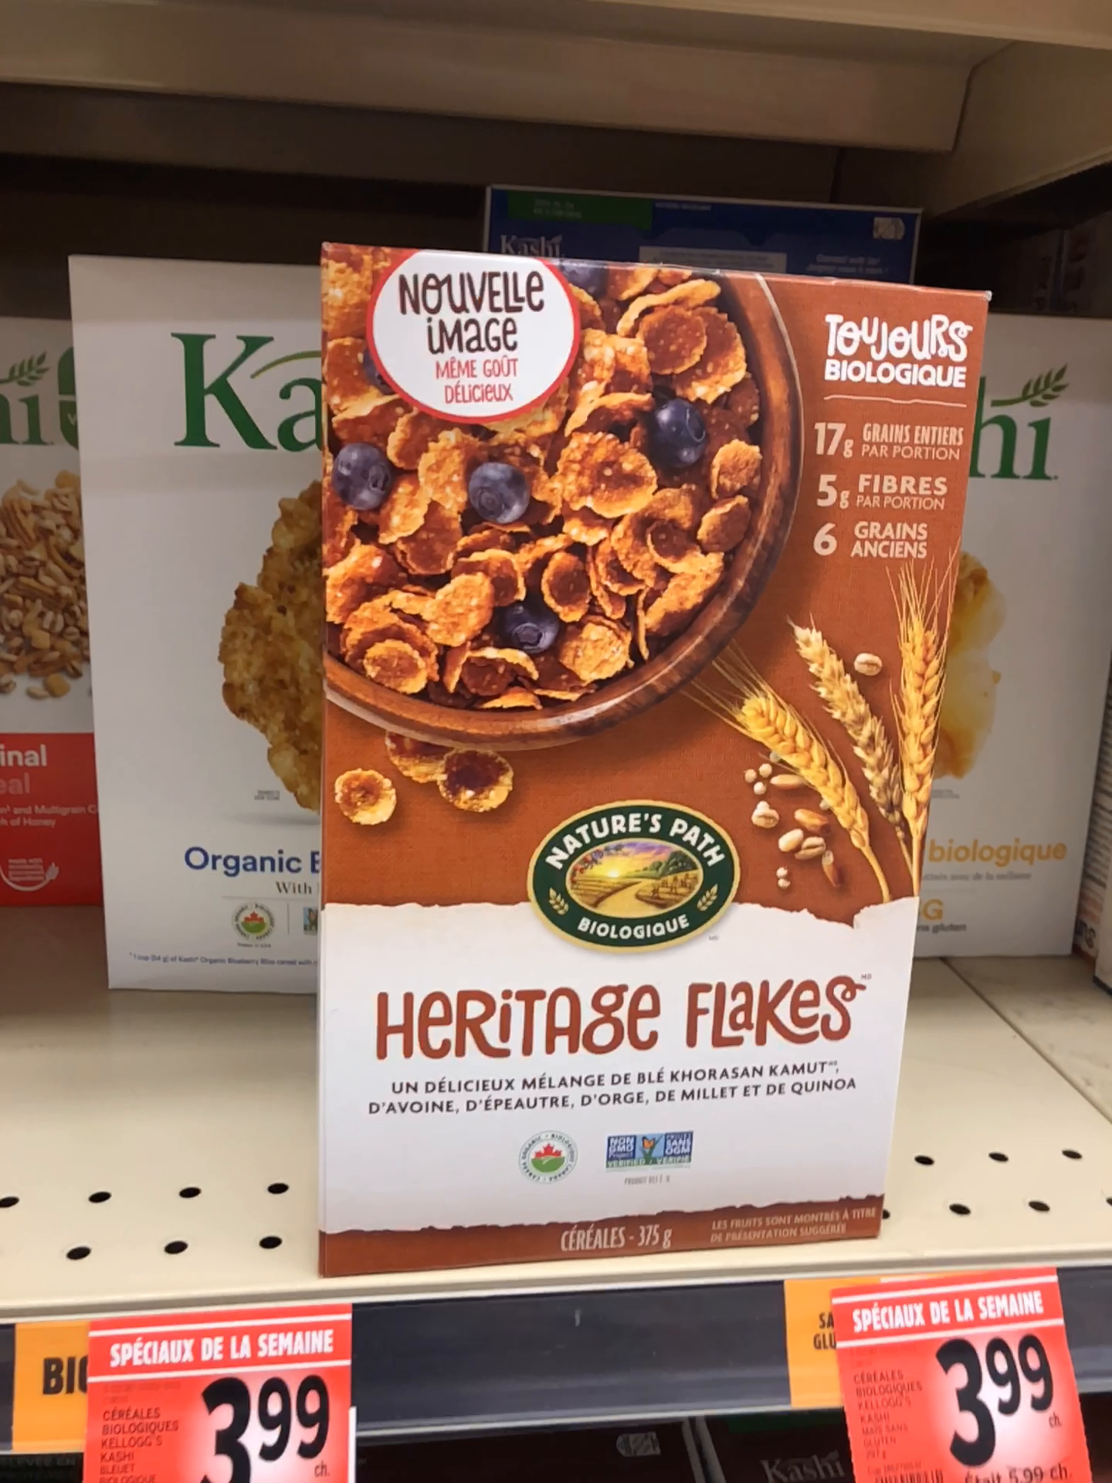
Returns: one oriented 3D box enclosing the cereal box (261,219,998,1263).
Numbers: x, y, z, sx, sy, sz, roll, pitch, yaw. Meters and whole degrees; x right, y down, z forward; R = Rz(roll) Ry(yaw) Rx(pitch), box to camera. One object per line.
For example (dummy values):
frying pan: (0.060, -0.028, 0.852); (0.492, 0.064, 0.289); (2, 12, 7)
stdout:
cereal box: (0.010, 0.004, 0.343); (0.170, 0.259, 0.070); (0, 14, -9)
